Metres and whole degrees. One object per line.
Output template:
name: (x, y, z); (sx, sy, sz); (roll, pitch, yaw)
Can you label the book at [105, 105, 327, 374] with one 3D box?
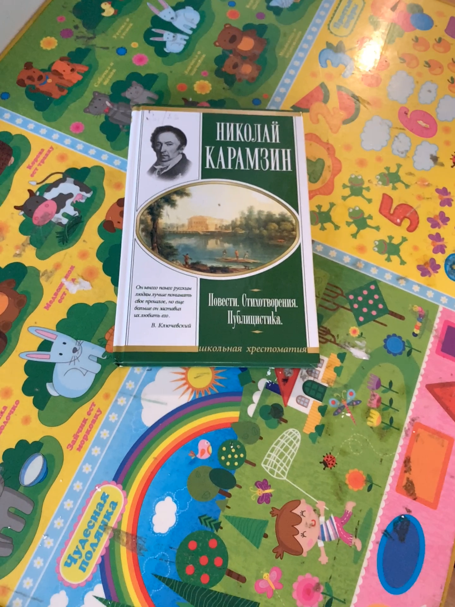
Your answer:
book: (-0.007, -0.051, 0.332); (0.136, 0.020, 0.197); (1, 70, -3)
